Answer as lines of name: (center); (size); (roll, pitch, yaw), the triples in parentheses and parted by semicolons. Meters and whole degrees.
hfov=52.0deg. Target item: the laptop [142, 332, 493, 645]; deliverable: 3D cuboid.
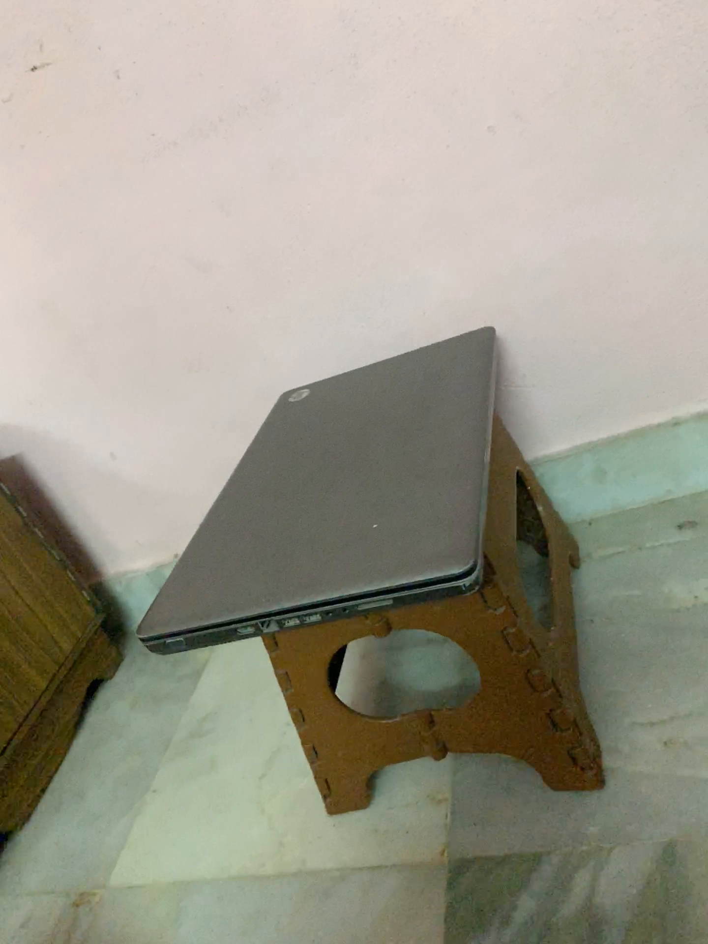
laptop: (-0.005, -0.010, 0.627); (0.242, 0.003, 0.380); (-15, 28, 22)
